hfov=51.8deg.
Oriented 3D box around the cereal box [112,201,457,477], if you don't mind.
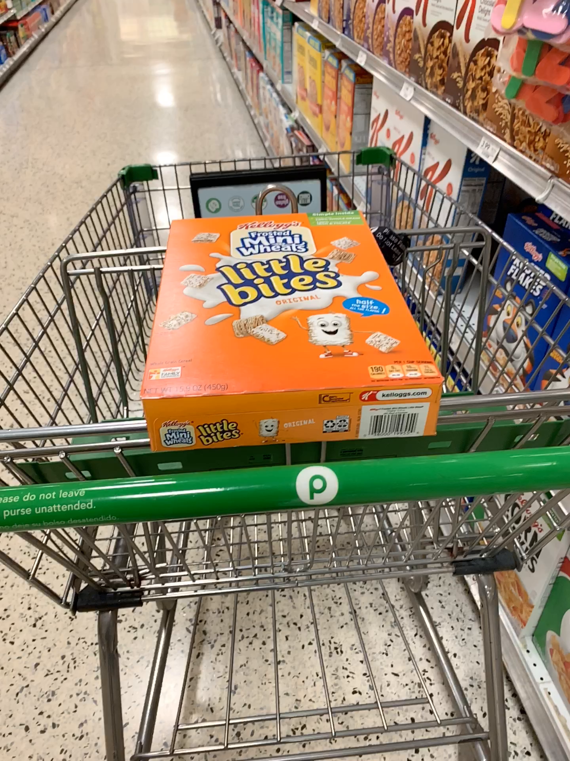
[{"bbox_3d":[-0.012,-0.063,0.504,0.210,0.059,0.323,-4,36,-3],"label":"cereal box"}]
